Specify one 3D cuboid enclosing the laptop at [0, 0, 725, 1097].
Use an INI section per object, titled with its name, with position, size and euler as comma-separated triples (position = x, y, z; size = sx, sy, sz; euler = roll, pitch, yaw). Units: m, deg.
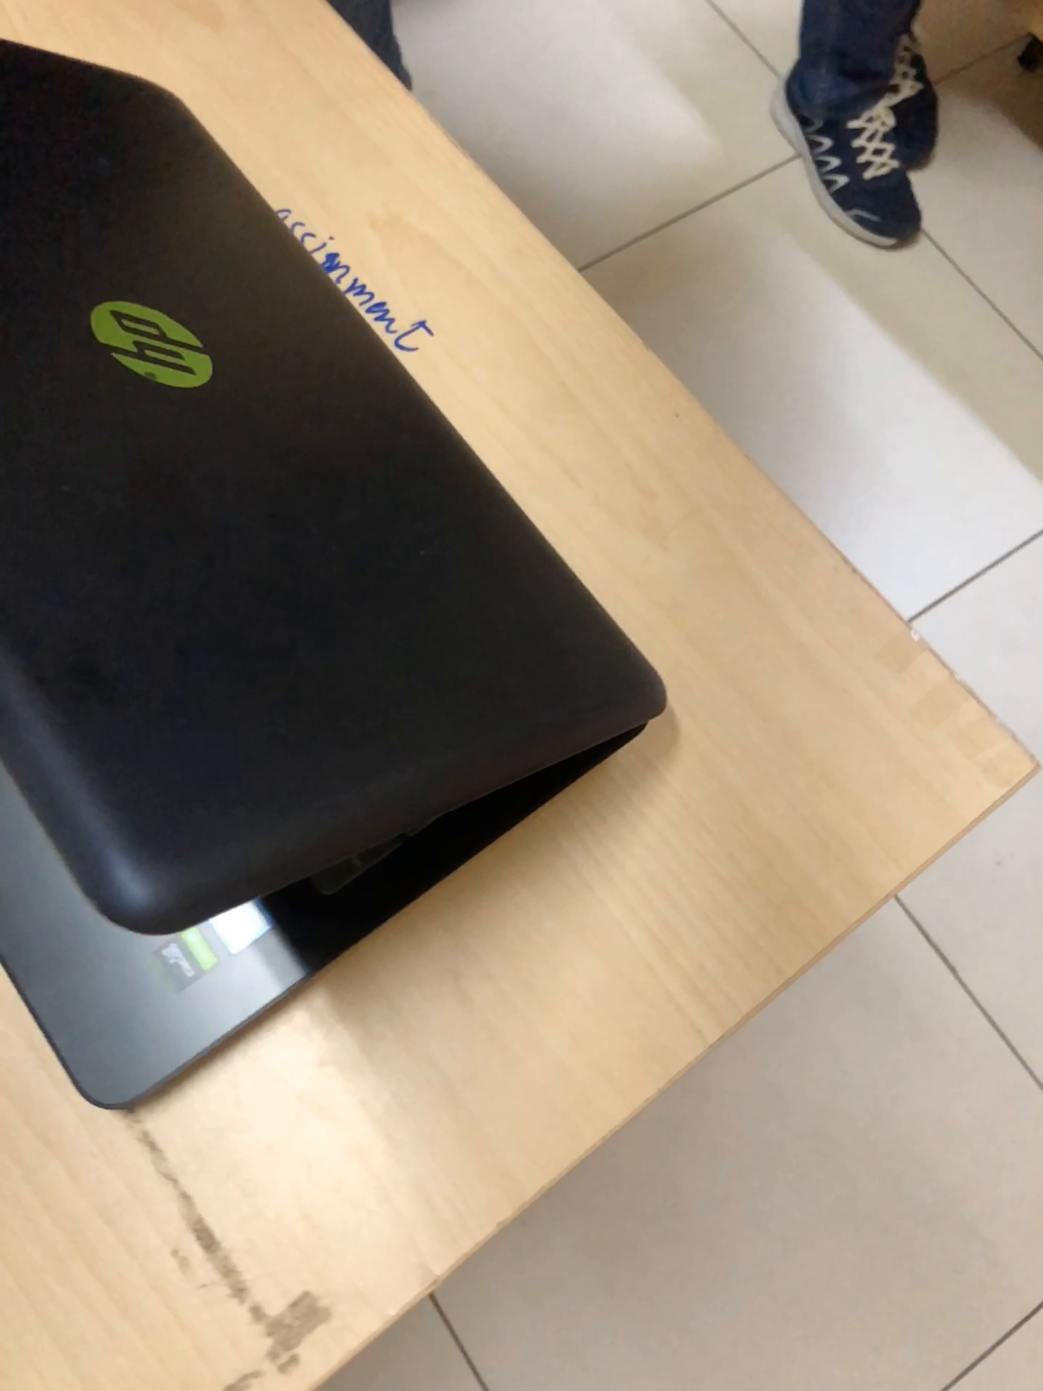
[laptop]
position = -0.152, -0.093, 0.388
size = 0.231, 0.167, 0.359
euler = -35, 74, -14
